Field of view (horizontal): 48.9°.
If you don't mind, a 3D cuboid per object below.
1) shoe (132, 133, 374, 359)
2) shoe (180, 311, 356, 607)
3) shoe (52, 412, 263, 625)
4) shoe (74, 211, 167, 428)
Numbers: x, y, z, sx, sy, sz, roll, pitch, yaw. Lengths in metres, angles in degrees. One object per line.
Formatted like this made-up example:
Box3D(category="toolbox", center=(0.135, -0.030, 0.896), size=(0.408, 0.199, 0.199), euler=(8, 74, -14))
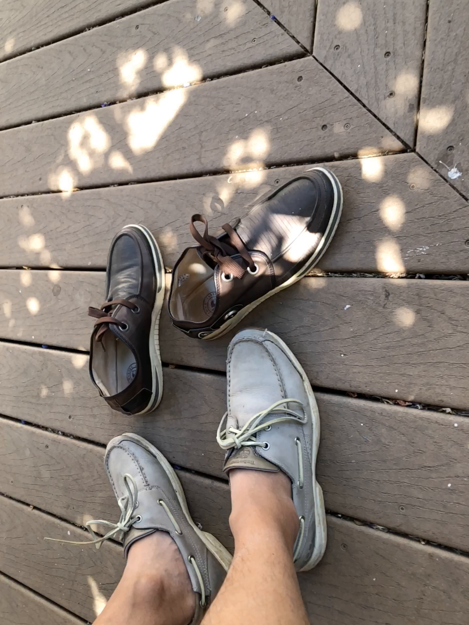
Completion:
Box3D(category="shoe", center=(0.012, -0.065, 0.622), size=(0.277, 0.079, 0.109), euler=(-39, 67, 26))
Box3D(category="shoe", center=(0.036, 0.156, 0.588), size=(0.110, 0.101, 0.293), euler=(-17, 78, 31))
Box3D(category="shoe", center=(-0.109, 0.282, 0.670), size=(0.293, 0.086, 0.109), euler=(49, 112, 25))
Box3D(category="shoe", center=(-0.159, 0.010, 0.722), size=(0.110, 0.069, 0.278), euler=(-1, 89, 33))
